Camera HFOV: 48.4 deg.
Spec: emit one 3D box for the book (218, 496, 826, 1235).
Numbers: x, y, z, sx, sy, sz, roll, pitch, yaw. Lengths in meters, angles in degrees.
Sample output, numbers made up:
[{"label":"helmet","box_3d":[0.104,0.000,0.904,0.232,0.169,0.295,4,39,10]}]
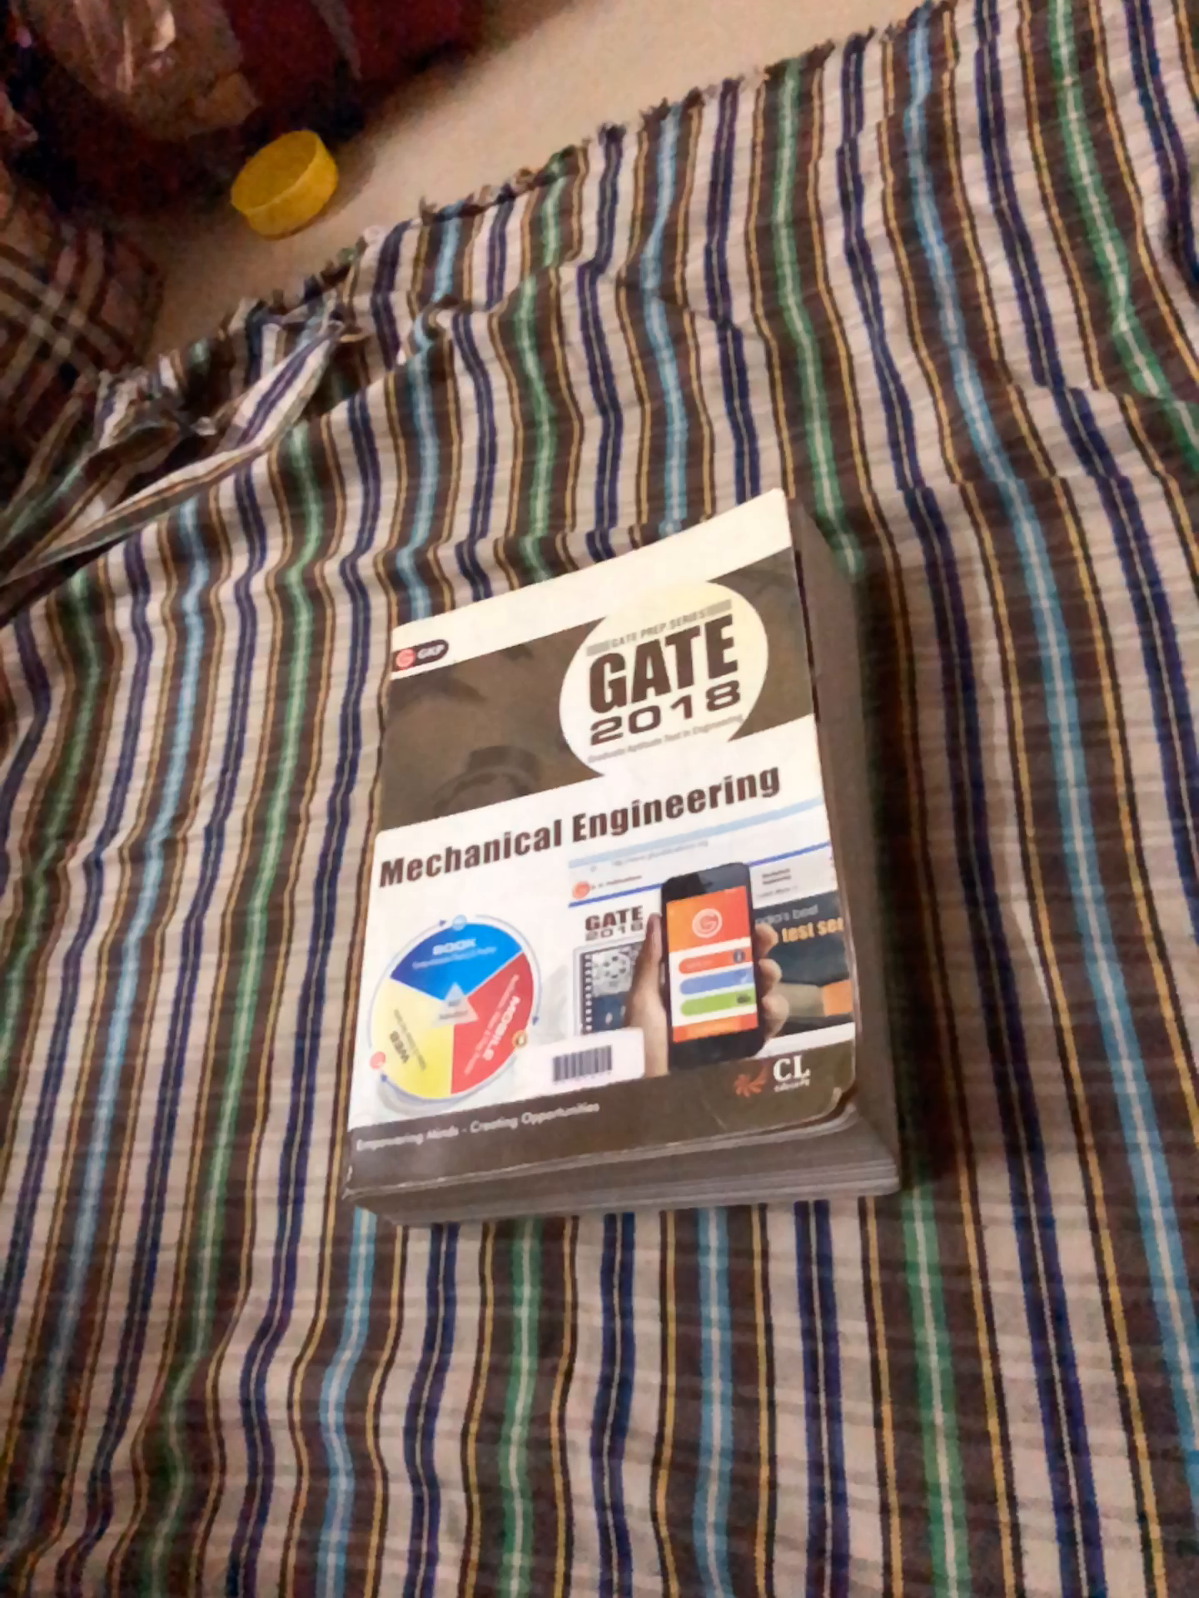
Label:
[{"label":"book","box_3d":[-0.030,0.028,0.553,0.210,0.076,0.265,-13,57,21]}]
